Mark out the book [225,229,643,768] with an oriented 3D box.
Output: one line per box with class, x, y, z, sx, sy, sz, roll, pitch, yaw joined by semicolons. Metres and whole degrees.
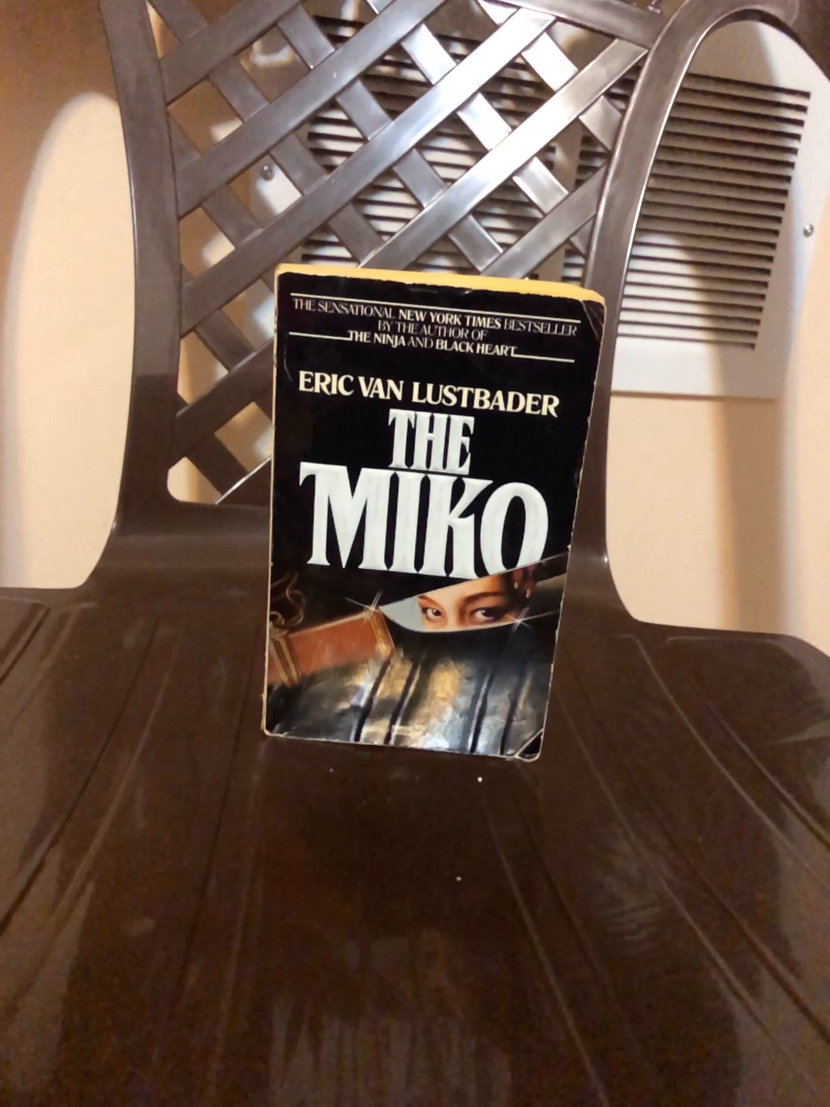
book;0.001;-0.017;0.322;0.120;0.169;0.040;6;16;-2
